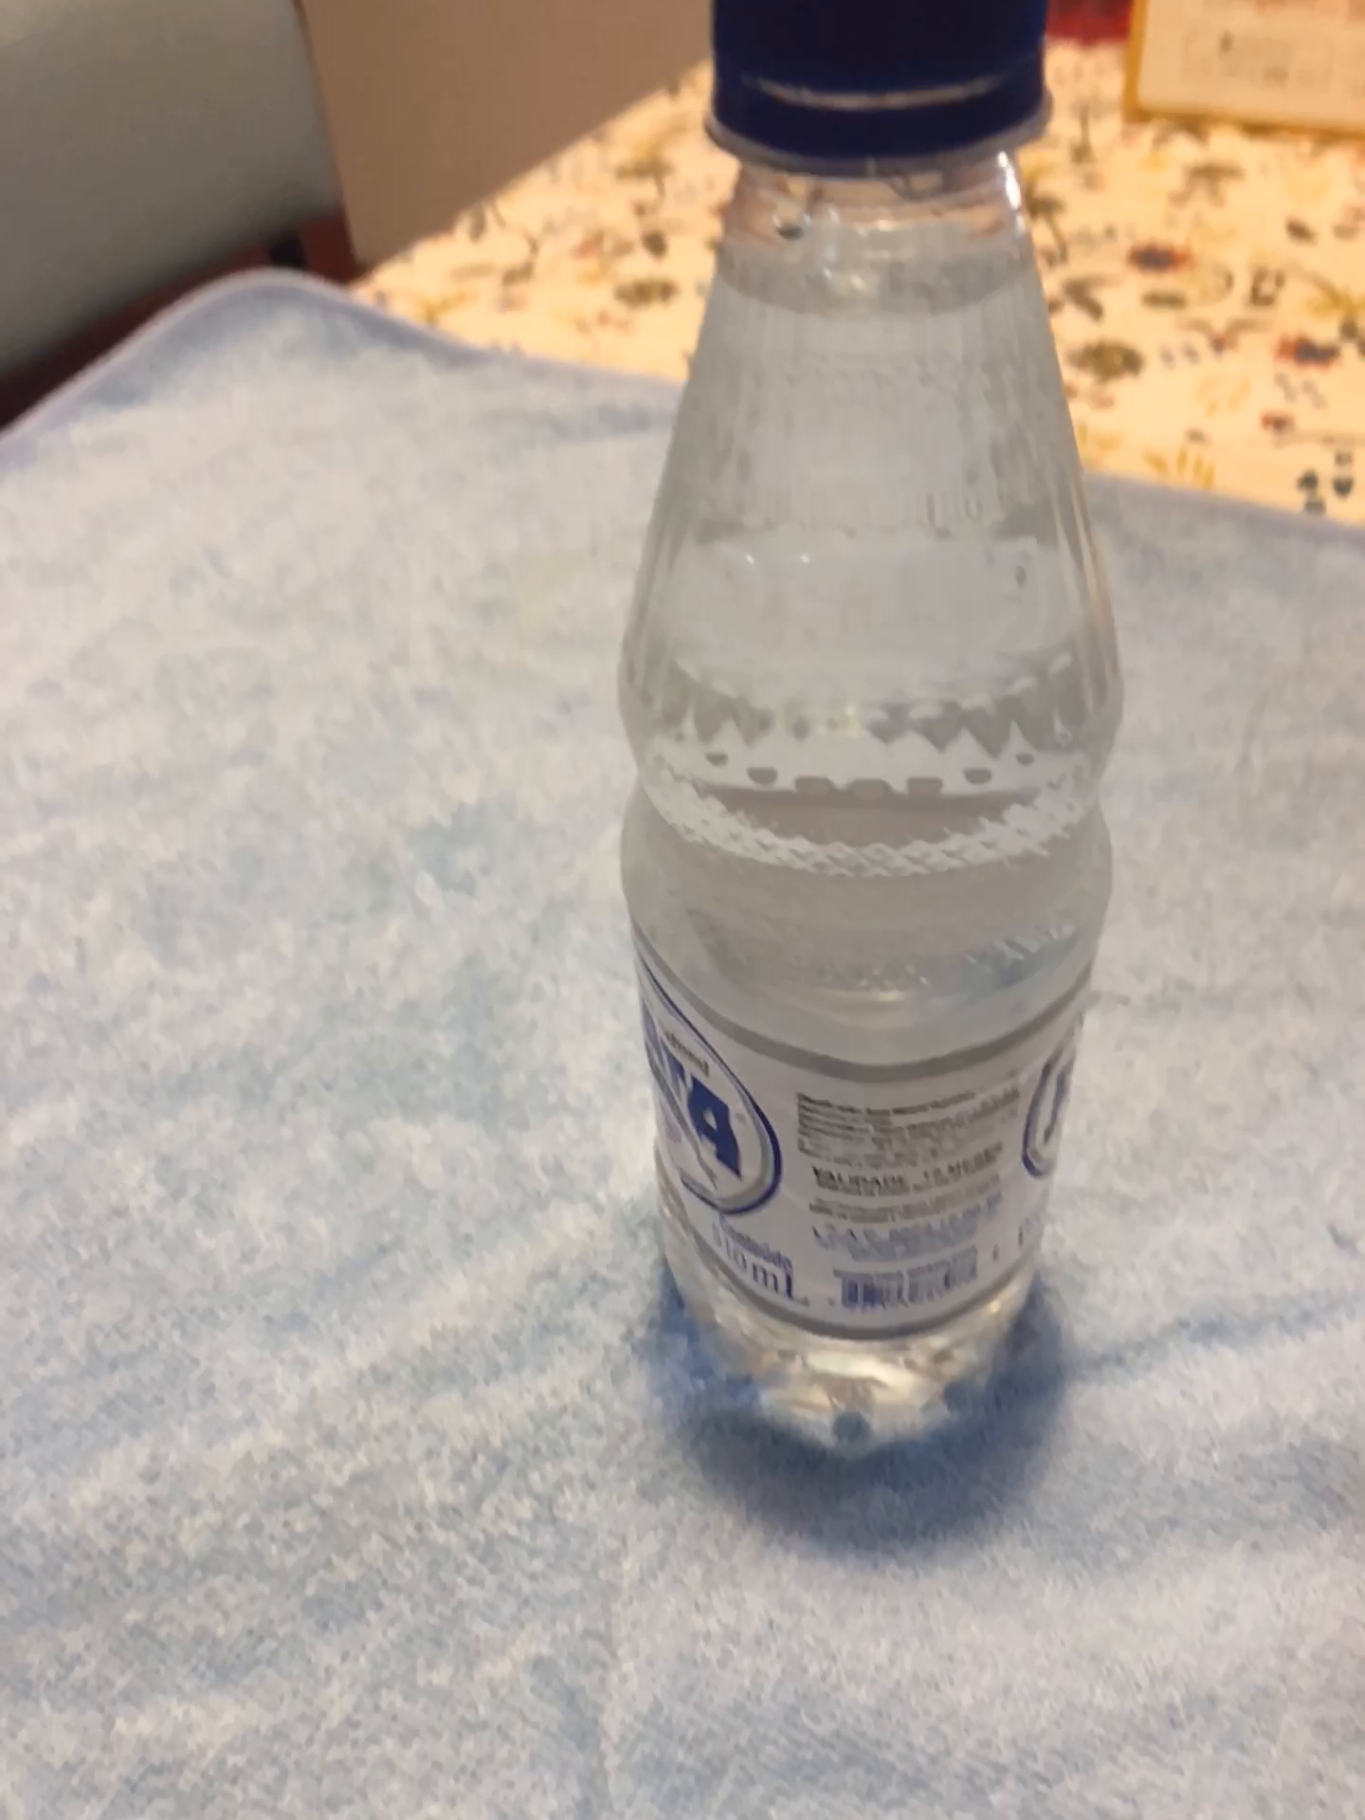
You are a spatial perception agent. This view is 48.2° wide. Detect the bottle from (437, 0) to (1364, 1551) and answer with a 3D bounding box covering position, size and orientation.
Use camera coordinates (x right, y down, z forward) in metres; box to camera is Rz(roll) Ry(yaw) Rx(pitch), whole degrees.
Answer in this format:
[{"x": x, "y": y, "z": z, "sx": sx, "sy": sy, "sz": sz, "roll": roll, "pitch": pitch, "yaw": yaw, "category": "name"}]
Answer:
[{"x": 0.022, "y": -0.004, "z": 0.205, "sx": 0.070, "sy": 0.218, "sz": 0.081, "roll": -6, "pitch": 44, "yaw": -1, "category": "bottle"}]
